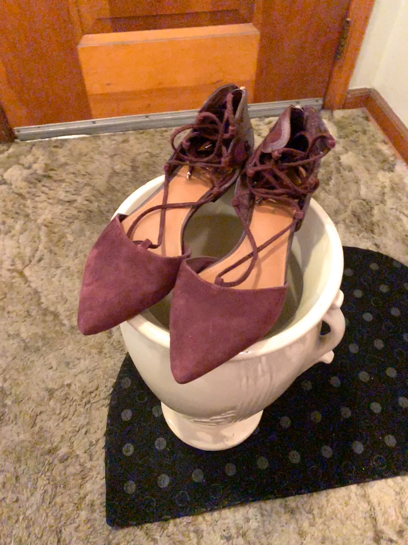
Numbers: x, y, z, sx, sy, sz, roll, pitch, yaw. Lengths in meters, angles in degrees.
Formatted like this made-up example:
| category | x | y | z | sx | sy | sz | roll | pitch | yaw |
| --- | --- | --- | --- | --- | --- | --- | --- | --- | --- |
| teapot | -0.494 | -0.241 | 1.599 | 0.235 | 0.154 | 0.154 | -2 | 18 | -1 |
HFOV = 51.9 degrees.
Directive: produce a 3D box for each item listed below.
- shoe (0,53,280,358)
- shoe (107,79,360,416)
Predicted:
| category | x | y | z | sx | sy | sz | roll | pitch | yaw |
| --- | --- | --- | --- | --- | --- | --- | --- | --- | --- |
| shoe | -0.032 | -0.074 | 0.366 | 0.092 | 0.099 | 0.262 | 23 | 56 | 16 |
| shoe | 0.040 | -0.038 | 0.344 | 0.092 | 0.099 | 0.262 | 20 | 55 | 14 |
